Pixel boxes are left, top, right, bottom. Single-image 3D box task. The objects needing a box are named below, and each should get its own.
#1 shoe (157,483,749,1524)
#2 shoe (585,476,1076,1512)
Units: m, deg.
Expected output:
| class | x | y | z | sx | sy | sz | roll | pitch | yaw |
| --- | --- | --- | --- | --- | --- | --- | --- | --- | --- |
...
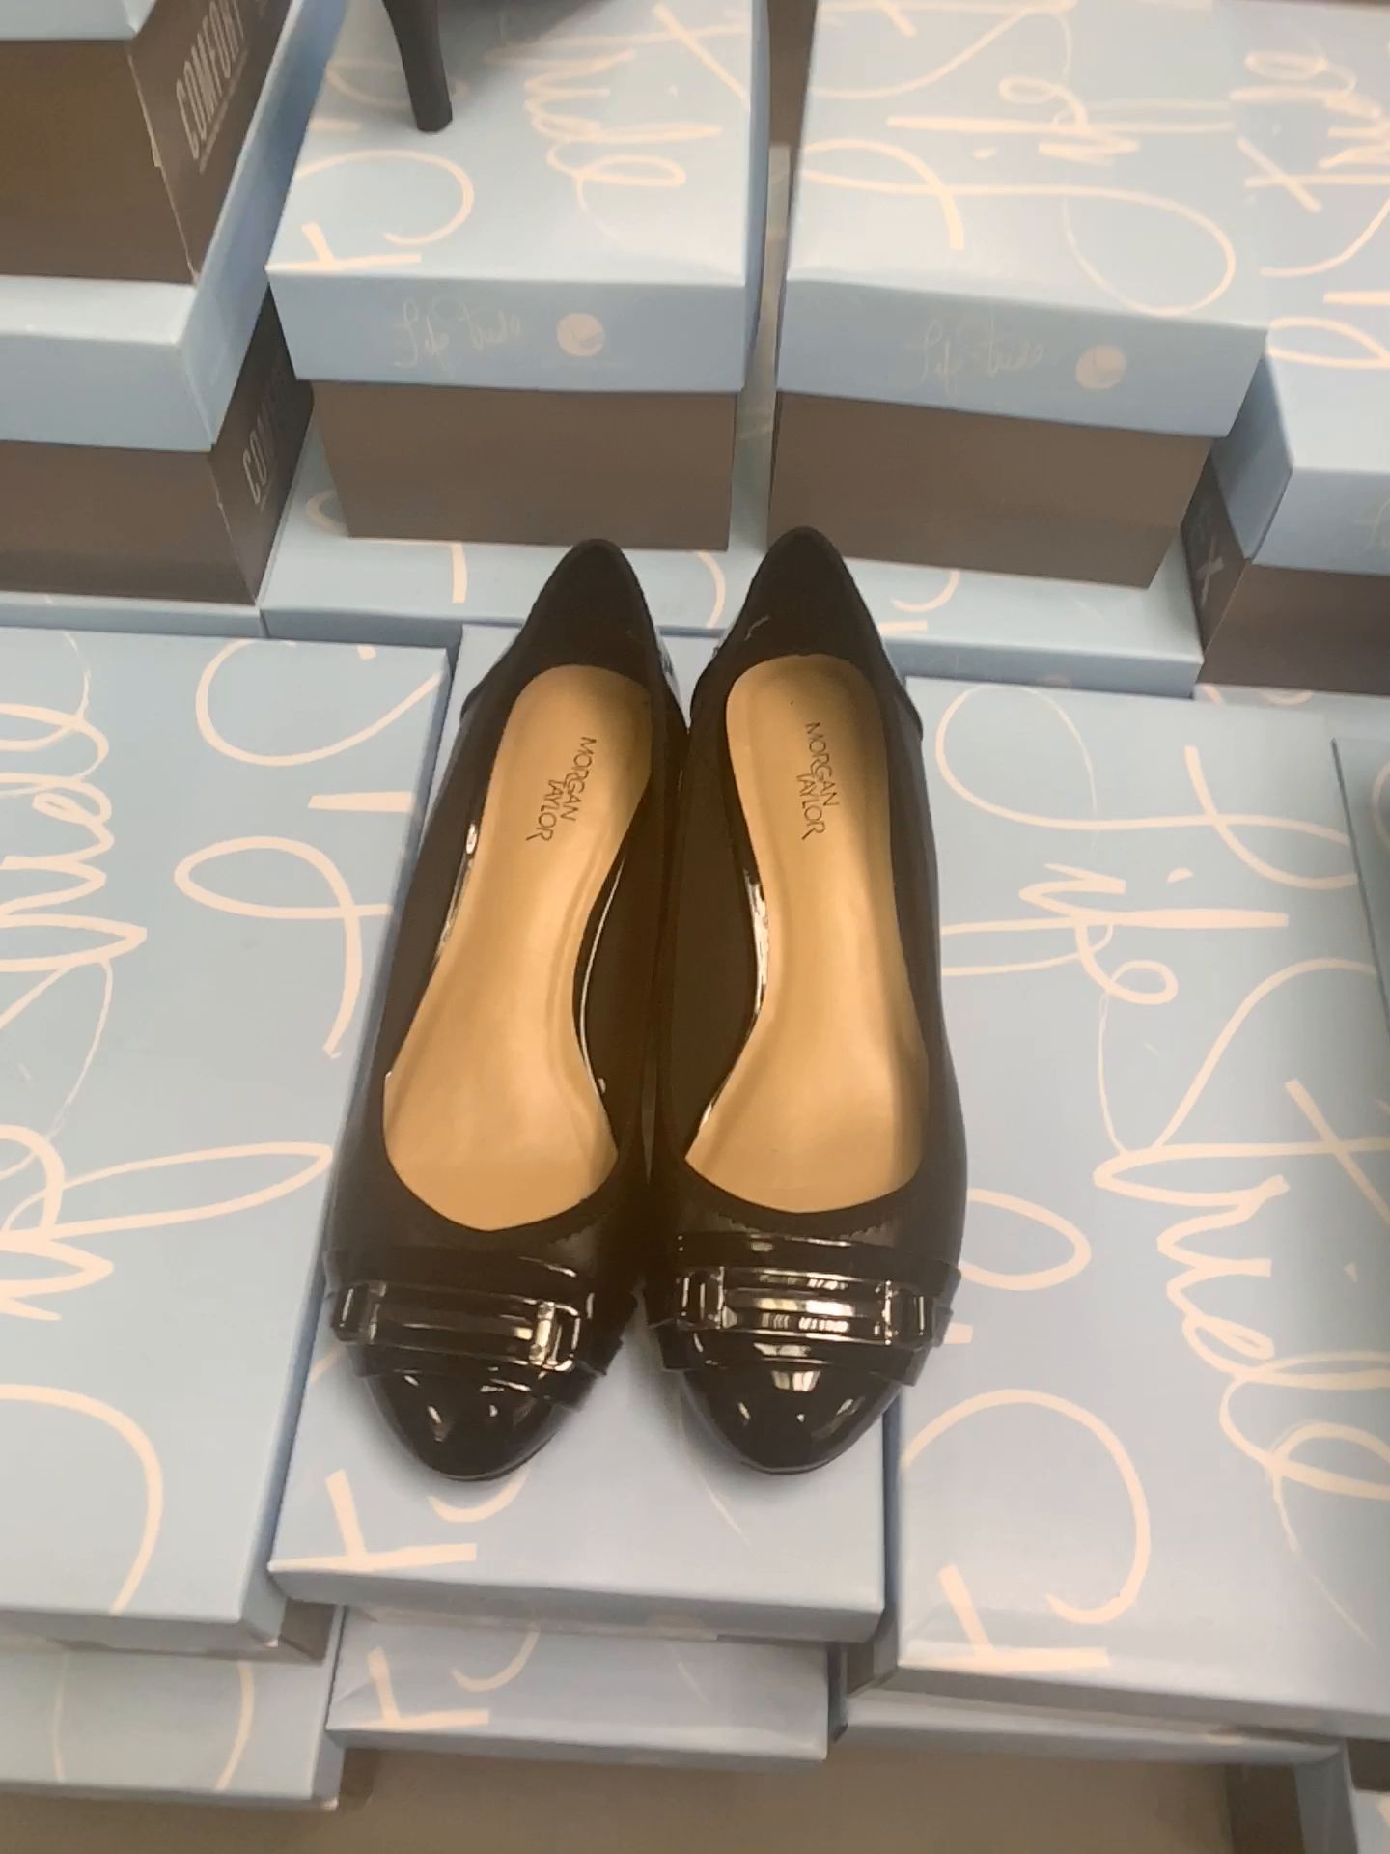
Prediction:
| class | x | y | z | sx | sy | sz | roll | pitch | yaw |
| --- | --- | --- | --- | --- | --- | --- | --- | --- | --- |
| shoe | -0.043 | 0.010 | 0.365 | 0.090 | 0.096 | 0.245 | 5 | 57 | 2 |
| shoe | 0.030 | 0.007 | 0.369 | 0.090 | 0.096 | 0.251 | 3 | 57 | 0 |
